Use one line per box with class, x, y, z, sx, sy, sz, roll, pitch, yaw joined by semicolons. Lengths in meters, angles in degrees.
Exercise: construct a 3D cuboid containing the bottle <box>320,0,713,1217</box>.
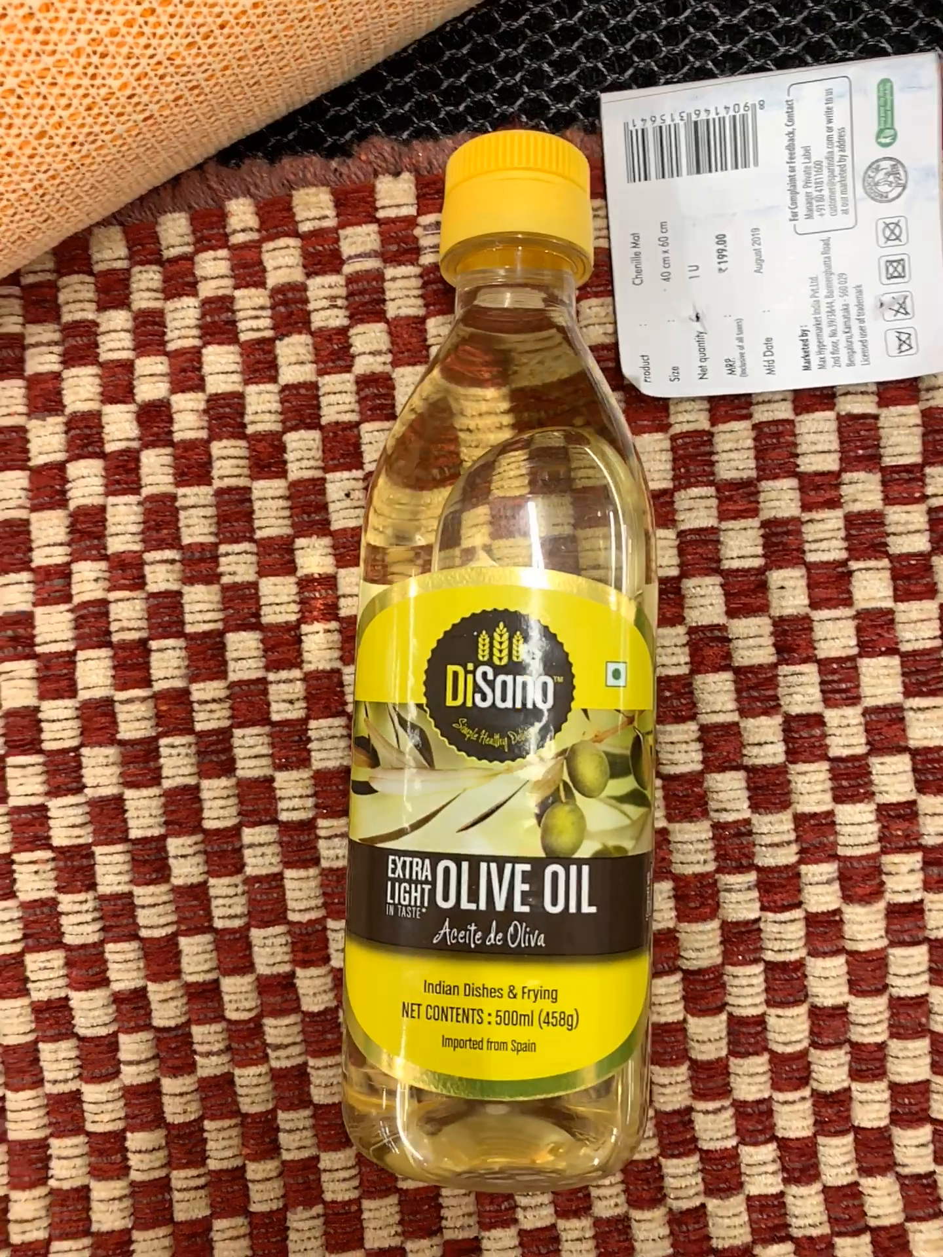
bottle;0.011;-0.007;0.213;0.070;0.060;0.230;1;88;3
